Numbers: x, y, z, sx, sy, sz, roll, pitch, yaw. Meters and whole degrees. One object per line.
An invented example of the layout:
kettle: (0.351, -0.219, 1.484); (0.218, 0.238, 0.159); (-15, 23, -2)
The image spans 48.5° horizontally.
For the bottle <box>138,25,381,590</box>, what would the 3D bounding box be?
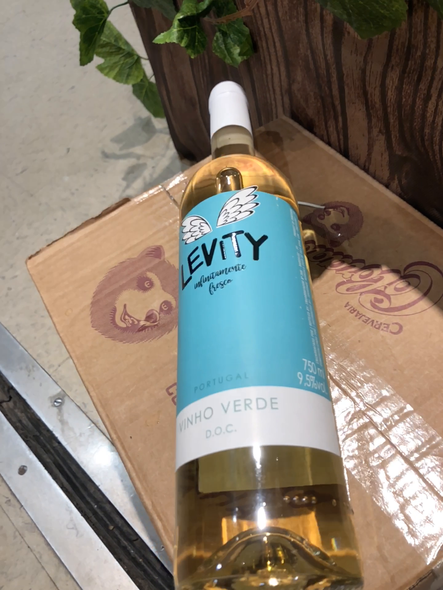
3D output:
bottle: (0.009, -0.028, 0.275); (0.080, 0.050, 0.342); (-8, 56, 8)
